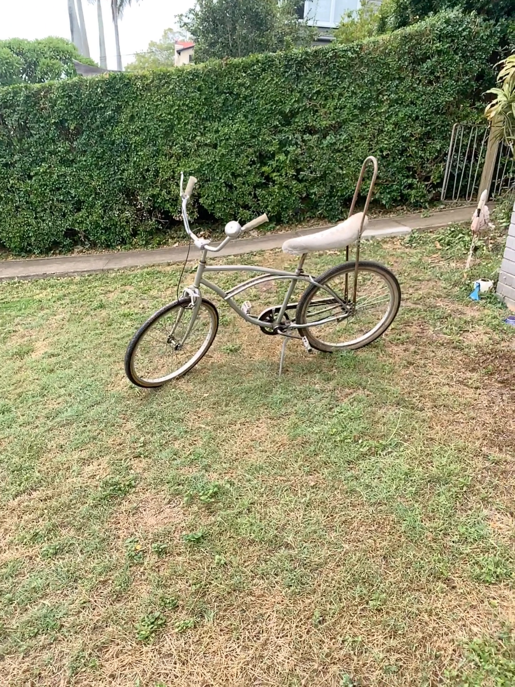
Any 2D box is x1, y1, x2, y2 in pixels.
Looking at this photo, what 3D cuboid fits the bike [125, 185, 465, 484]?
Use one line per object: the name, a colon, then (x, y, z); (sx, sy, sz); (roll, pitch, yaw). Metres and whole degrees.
bike: (0.103, -0.150, 2.881); (1.599, 0.991, 0.804); (-12, 23, -13)
